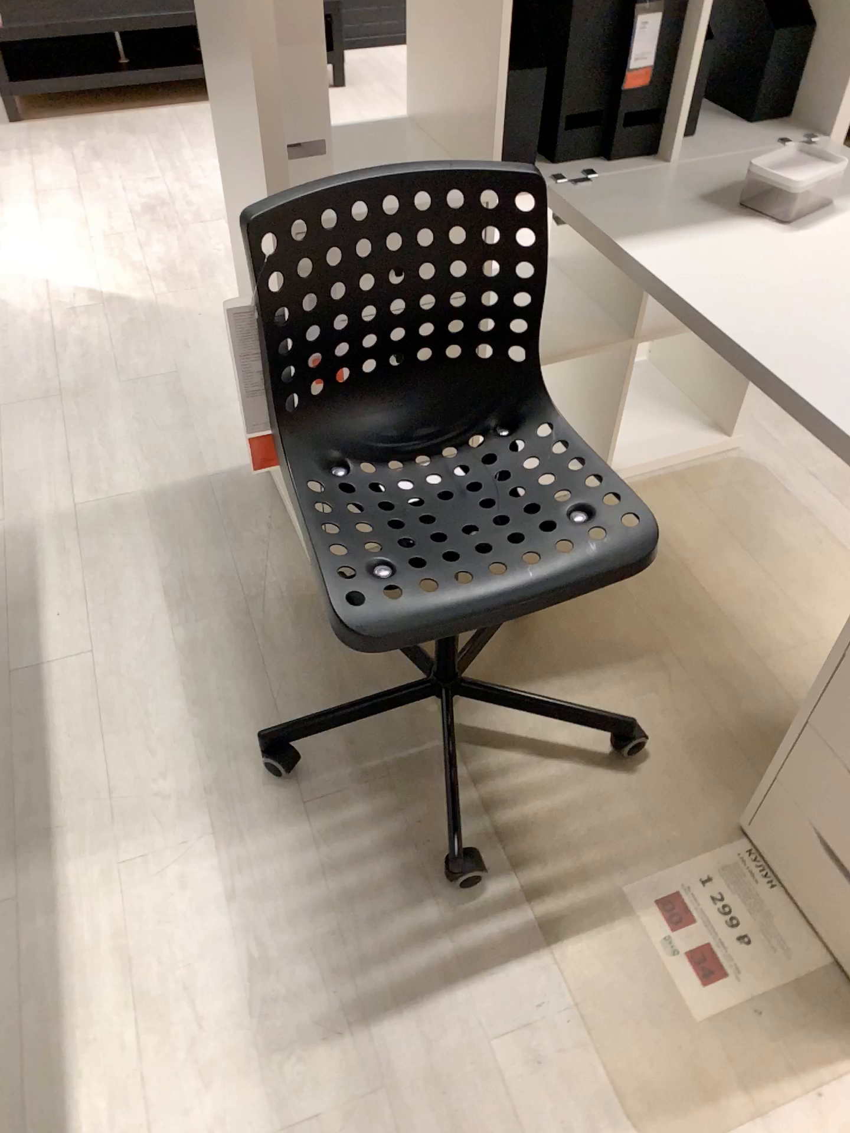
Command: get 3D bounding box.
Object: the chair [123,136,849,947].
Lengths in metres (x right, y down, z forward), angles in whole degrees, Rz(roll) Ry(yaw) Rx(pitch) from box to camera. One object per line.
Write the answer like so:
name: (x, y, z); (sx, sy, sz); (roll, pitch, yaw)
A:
chair: (0.018, -0.049, 1.363); (0.681, 0.866, 0.753); (-14, 47, -14)
